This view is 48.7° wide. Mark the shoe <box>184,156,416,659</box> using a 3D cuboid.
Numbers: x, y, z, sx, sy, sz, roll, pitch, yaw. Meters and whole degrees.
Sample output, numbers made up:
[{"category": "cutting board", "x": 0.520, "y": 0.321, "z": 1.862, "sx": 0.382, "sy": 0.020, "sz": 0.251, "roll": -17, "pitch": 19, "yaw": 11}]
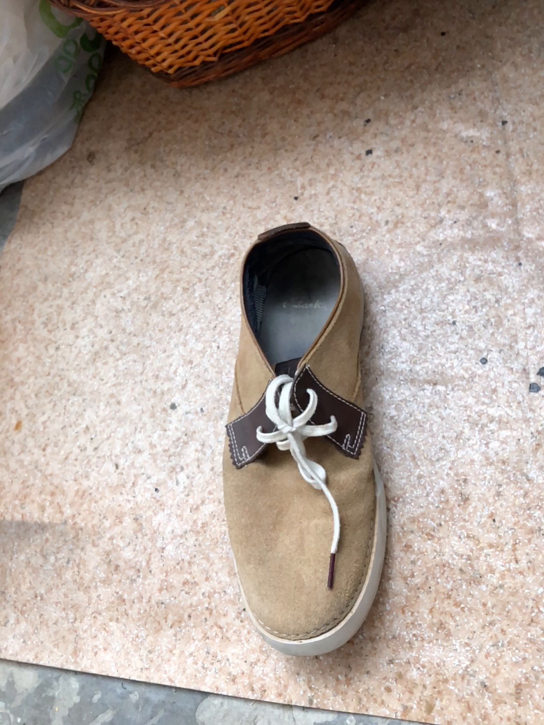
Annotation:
[{"category": "shoe", "x": 0.026, "y": 0.024, "z": 0.403, "sx": 0.110, "sy": 0.090, "sz": 0.301, "roll": -7, "pitch": 67, "yaw": 22}]
